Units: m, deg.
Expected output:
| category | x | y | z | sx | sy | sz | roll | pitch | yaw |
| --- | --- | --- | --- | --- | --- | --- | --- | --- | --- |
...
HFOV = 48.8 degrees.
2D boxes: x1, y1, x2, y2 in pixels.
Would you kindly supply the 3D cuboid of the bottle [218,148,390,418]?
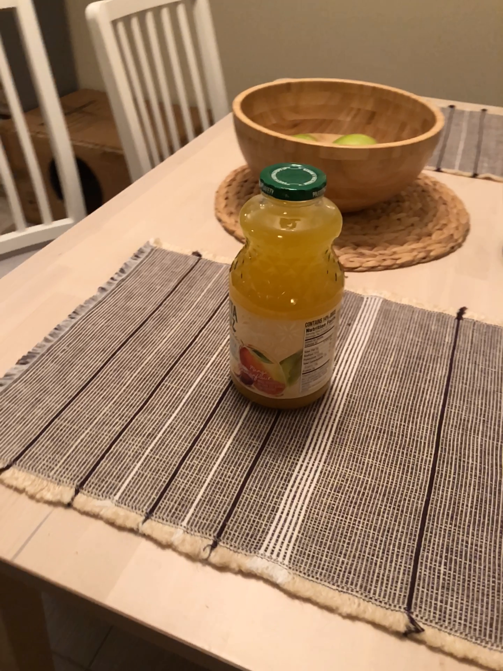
| category | x | y | z | sx | sy | sz | roll | pitch | yaw |
| --- | --- | --- | --- | --- | --- | --- | --- | --- | --- |
| bottle | 0.030 | -0.040 | 0.455 | 0.100 | 0.189 | 0.101 | 1 | 38 | -1 |
